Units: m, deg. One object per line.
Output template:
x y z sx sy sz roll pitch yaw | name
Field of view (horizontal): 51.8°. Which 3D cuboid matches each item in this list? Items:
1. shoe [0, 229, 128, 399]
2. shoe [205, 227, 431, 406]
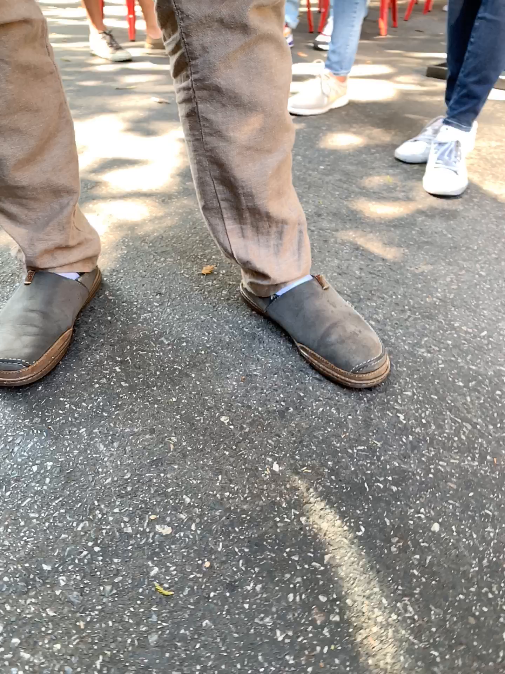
-0.274 -0.050 0.729 0.120 0.060 0.322 1 38 1 | shoe
0.075 -0.047 0.741 0.120 0.080 0.321 -26 45 -30 | shoe
